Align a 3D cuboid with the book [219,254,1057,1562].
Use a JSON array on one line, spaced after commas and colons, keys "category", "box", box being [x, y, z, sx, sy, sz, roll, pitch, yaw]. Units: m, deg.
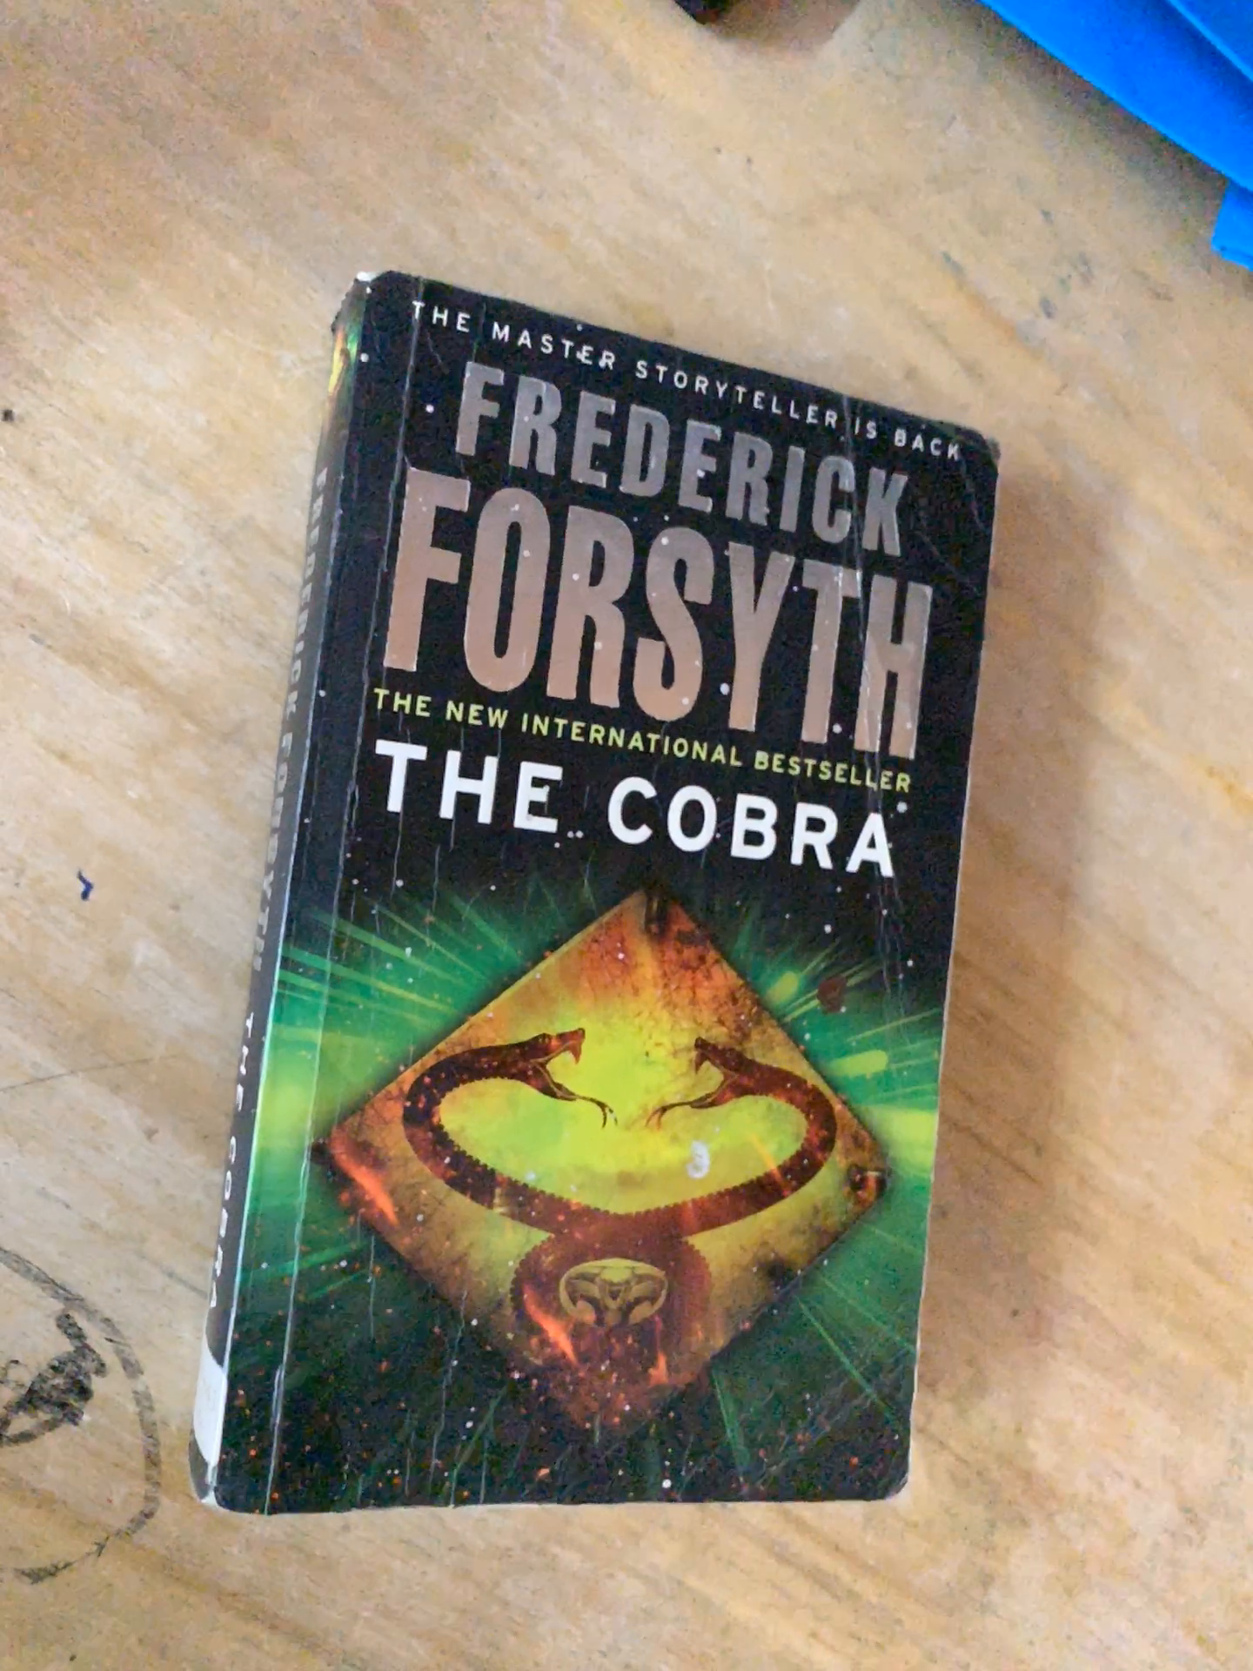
[{"category": "book", "box": [0.002, 0.013, 0.196, 0.100, 0.040, 0.160, 7, 87, -19]}]
